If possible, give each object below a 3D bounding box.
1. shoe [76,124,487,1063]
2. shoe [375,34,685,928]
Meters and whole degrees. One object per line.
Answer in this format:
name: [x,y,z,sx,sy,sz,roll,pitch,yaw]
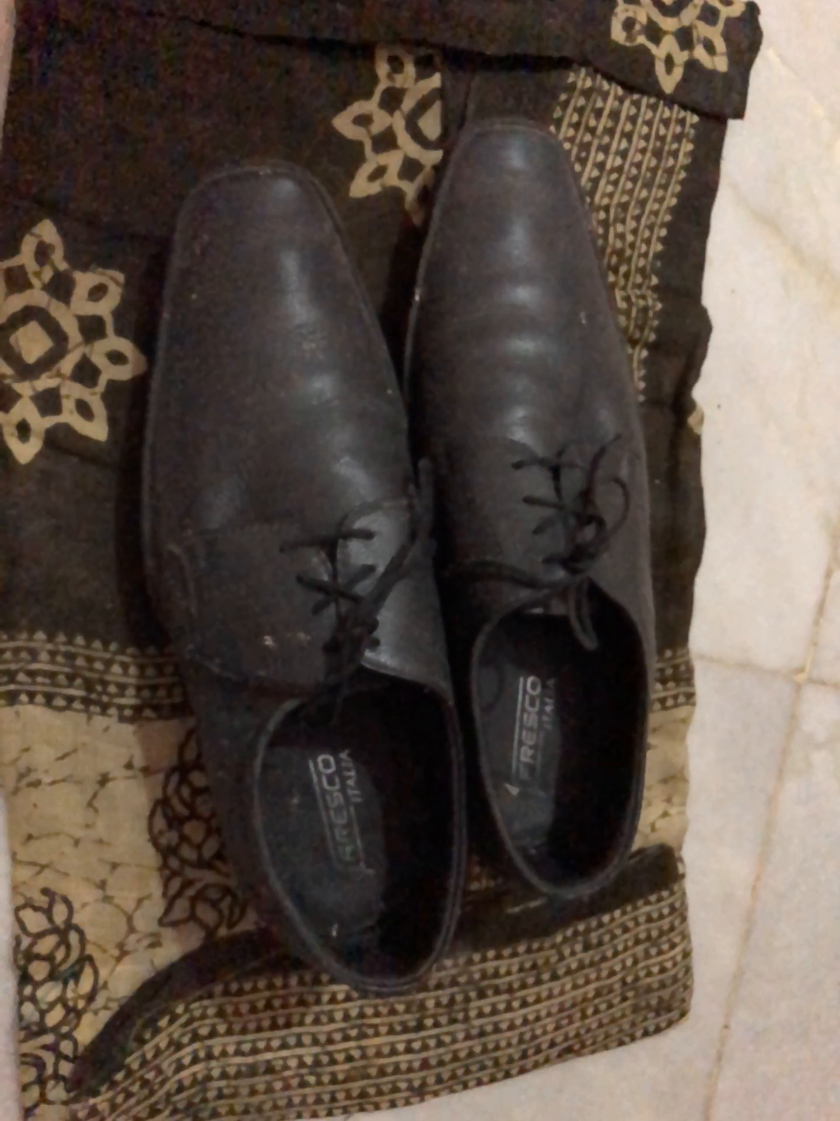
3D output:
shoe: [-0.054,0.012,0.383,0.110,0.070,0.340,-9,97,-16]
shoe: [0.046,-0.028,0.407,0.110,0.070,0.340,-3,95,-17]
